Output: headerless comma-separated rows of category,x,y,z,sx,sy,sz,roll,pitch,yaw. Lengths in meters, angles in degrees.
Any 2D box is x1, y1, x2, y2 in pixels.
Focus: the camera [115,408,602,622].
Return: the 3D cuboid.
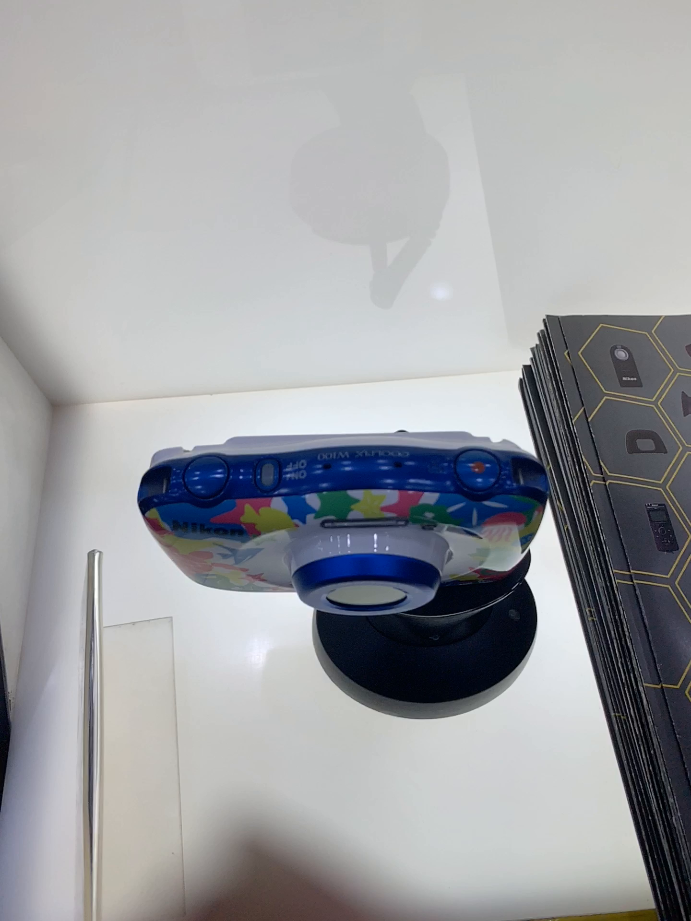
camera,0.003,0.019,0.212,0.120,0.060,0.040,-1,62,1
